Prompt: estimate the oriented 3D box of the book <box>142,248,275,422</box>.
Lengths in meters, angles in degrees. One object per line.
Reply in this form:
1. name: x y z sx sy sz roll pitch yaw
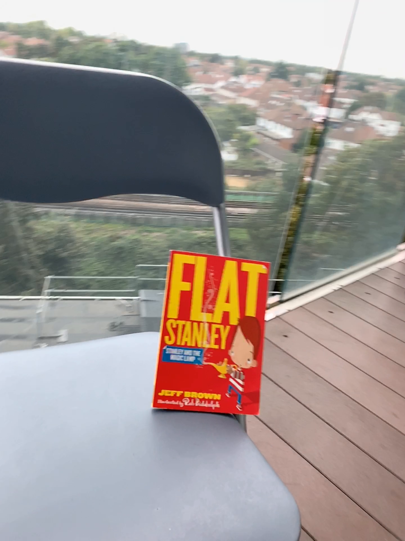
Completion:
1. book: 0.009 0.075 0.499 0.140 0.191 0.020 6 -8 -4
